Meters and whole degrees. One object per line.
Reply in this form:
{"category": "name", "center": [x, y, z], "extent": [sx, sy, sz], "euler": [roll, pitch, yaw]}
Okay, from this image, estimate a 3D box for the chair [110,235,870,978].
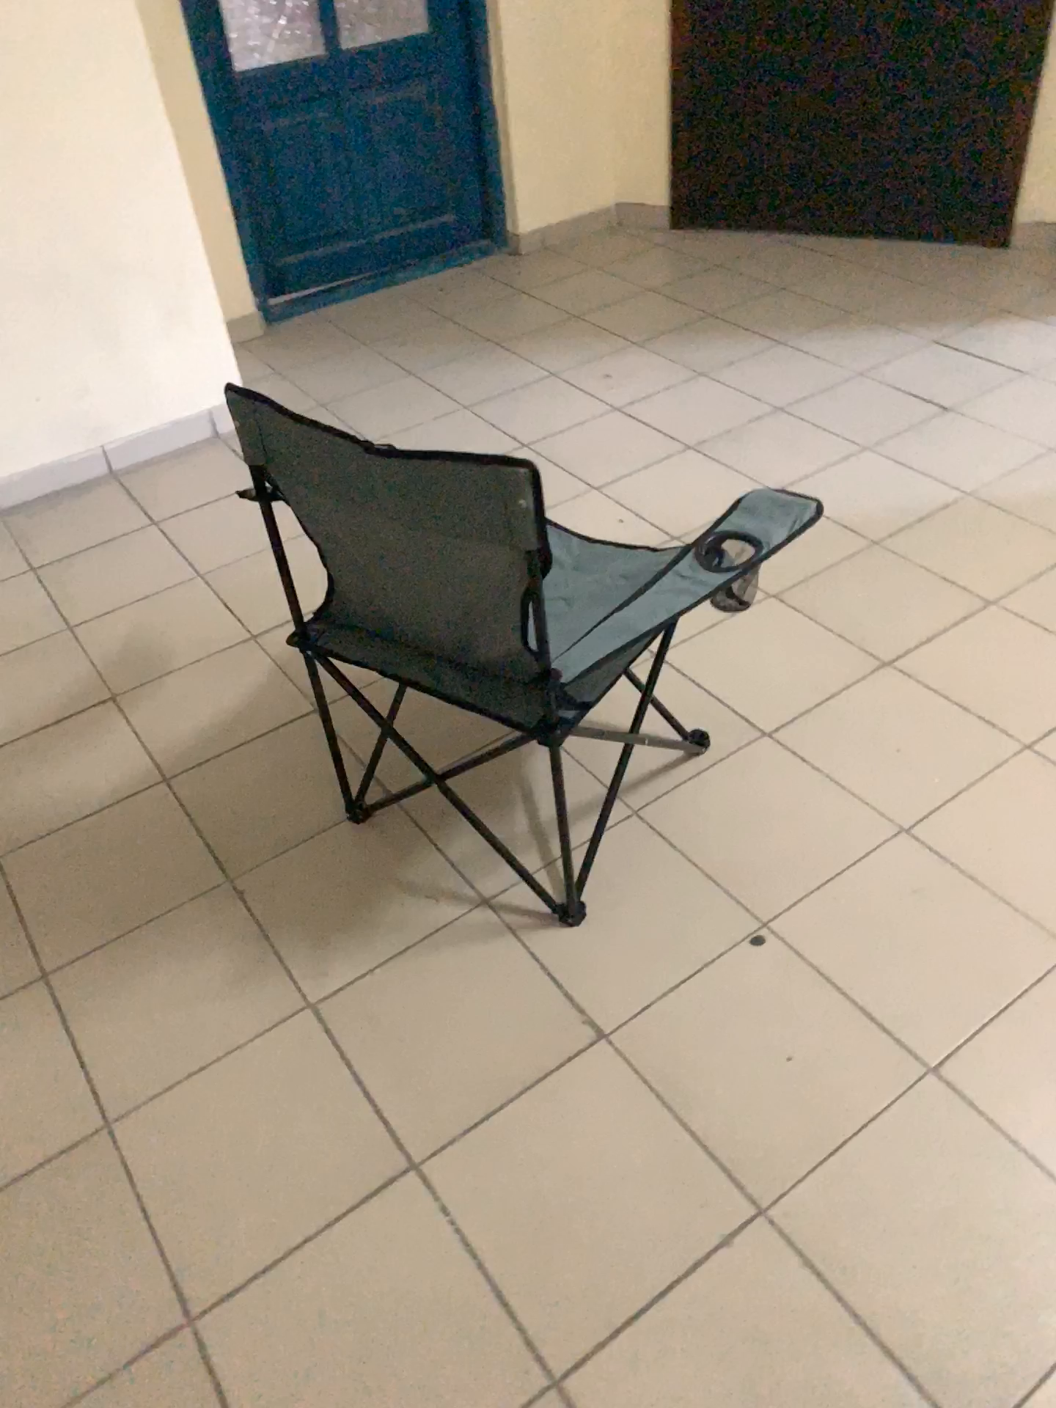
{"category": "chair", "center": [-0.020, -0.184, 1.614], "extent": [0.802, 0.756, 0.562], "euler": [19, 46, 27]}
